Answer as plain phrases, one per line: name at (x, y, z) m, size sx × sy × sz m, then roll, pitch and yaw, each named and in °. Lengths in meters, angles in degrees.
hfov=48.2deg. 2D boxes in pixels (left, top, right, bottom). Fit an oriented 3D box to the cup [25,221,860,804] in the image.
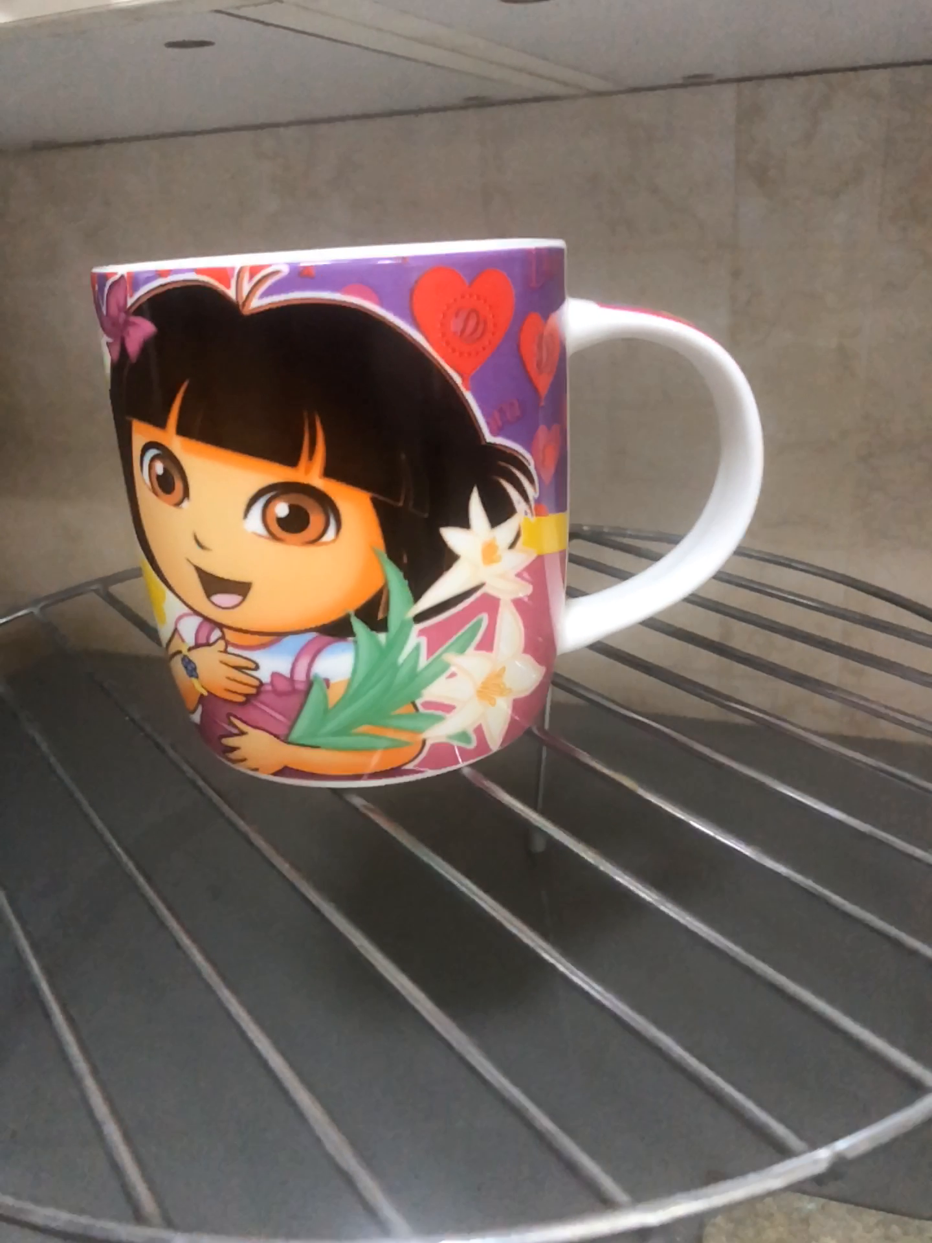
cup at (-0.002, -0.025, 0.198) m, size 0.120 × 0.089 × 0.070 m, roll -2°, pitch 20°, yaw 0°
